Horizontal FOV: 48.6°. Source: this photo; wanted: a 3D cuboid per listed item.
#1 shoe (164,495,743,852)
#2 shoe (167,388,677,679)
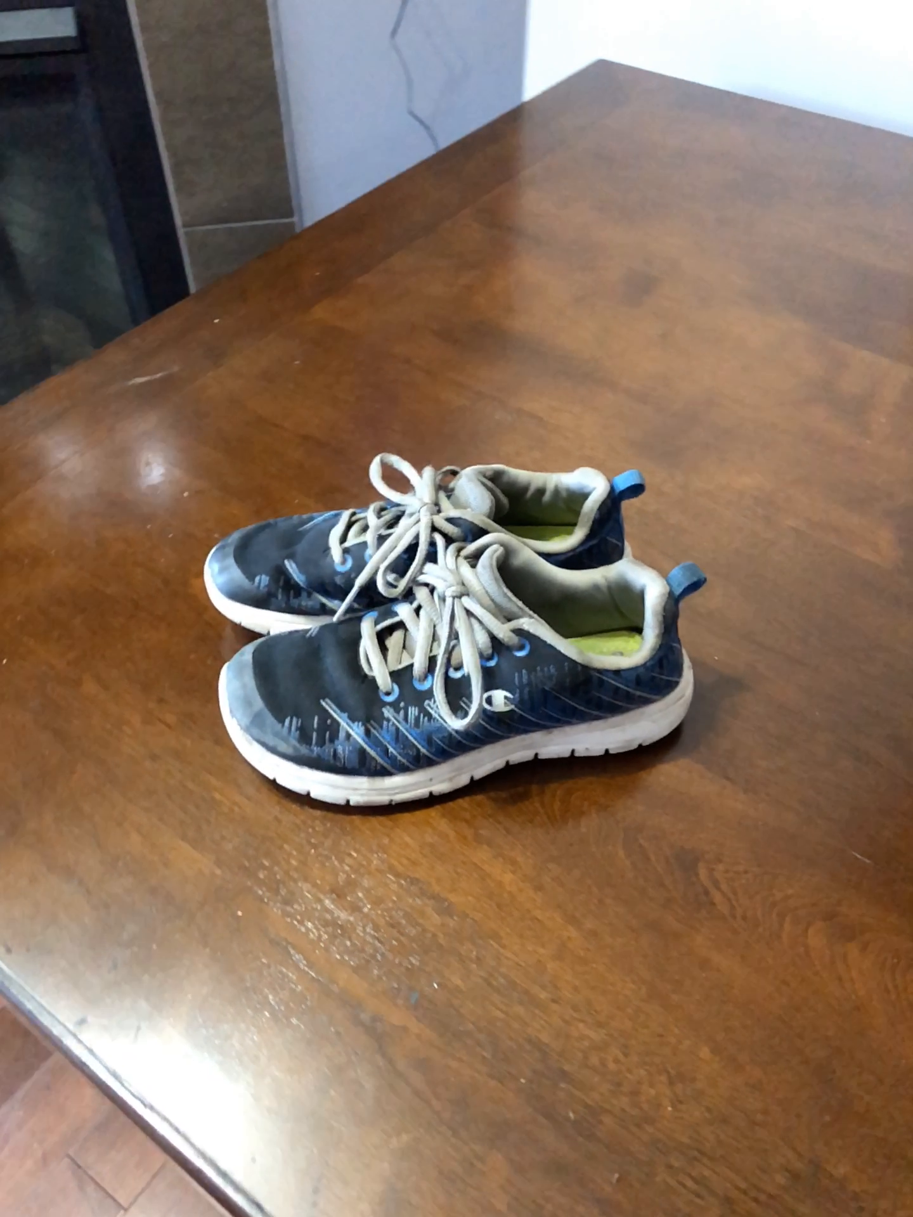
[{"bbox_3d":[-0.006,0.027,0.462,0.230,0.090,0.100,-7,48,-7],"label":"shoe"},{"bbox_3d":[-0.017,-0.038,0.502,0.220,0.090,0.100,-3,47,-3],"label":"shoe"}]
